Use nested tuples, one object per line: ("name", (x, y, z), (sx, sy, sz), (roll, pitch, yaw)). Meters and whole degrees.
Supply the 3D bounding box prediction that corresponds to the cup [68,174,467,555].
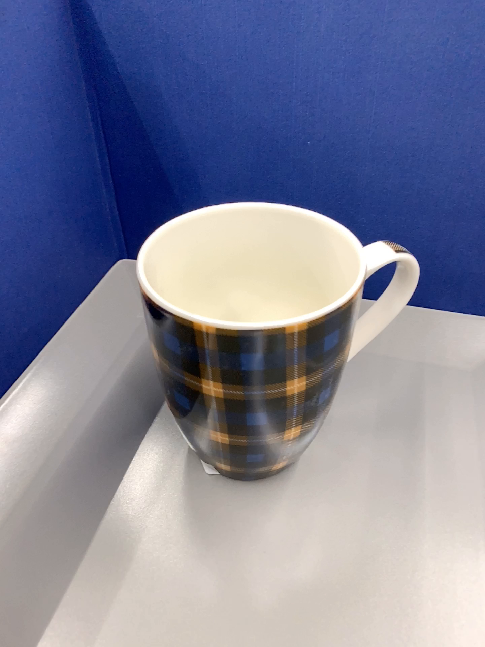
("cup", (0.009, 0.006, 0.220), (0.122, 0.089, 0.095), (-25, 43, -28))
